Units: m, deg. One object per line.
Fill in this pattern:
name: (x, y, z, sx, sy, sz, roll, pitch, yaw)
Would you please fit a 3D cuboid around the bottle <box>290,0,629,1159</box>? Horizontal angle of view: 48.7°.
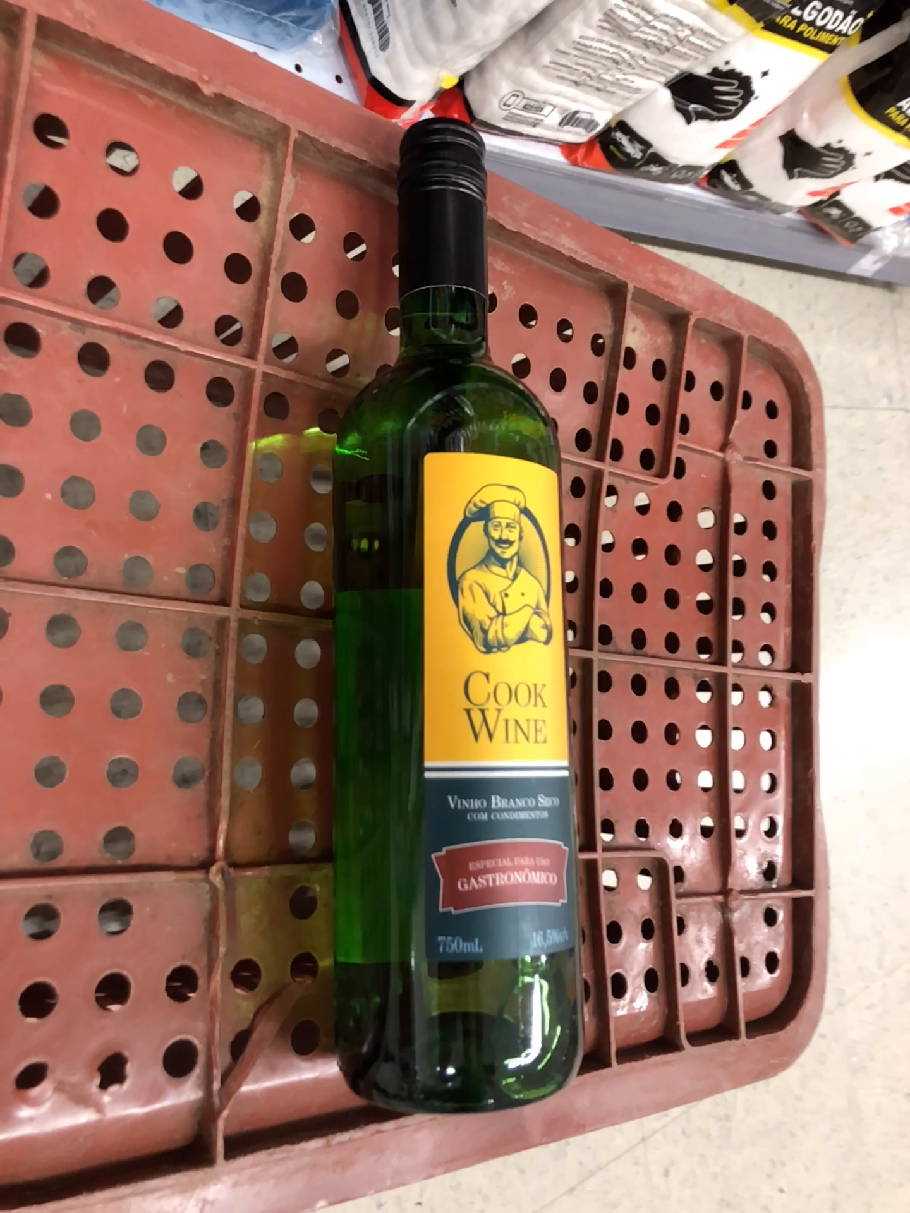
bottle: (0.001, -0.018, 0.311, 0.080, 0.060, 0.320, 4, 82, -27)
